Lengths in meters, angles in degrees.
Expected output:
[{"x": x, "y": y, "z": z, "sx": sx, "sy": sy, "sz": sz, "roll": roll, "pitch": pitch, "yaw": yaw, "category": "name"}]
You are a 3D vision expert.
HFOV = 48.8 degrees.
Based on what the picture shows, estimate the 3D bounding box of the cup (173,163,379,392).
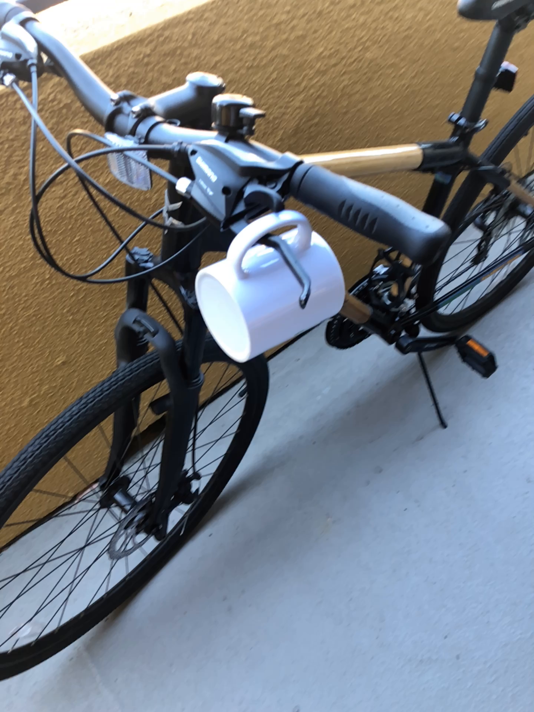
[{"x": 0.005, "y": -0.062, "z": 0.475, "sx": 0.120, "sy": 0.120, "sz": 0.090, "roll": -25, "pitch": 58, "yaw": -18, "category": "cup"}]
